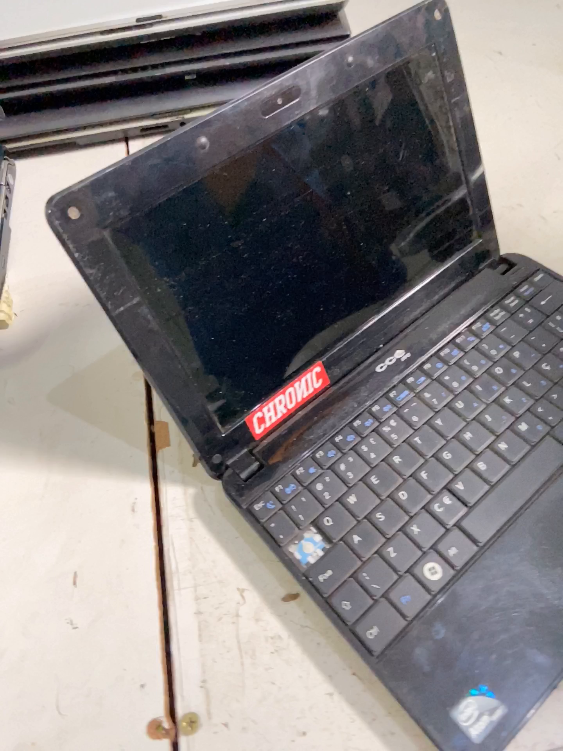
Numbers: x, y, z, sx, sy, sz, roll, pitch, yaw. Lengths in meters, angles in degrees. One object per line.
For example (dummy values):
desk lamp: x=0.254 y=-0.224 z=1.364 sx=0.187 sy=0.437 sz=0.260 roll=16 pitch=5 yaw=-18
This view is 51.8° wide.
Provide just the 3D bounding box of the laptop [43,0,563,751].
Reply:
laptop: x=0.082 y=-0.025 z=0.282 sx=0.254 sy=0.137 sz=0.258 roll=-37 pitch=60 yaw=-18
